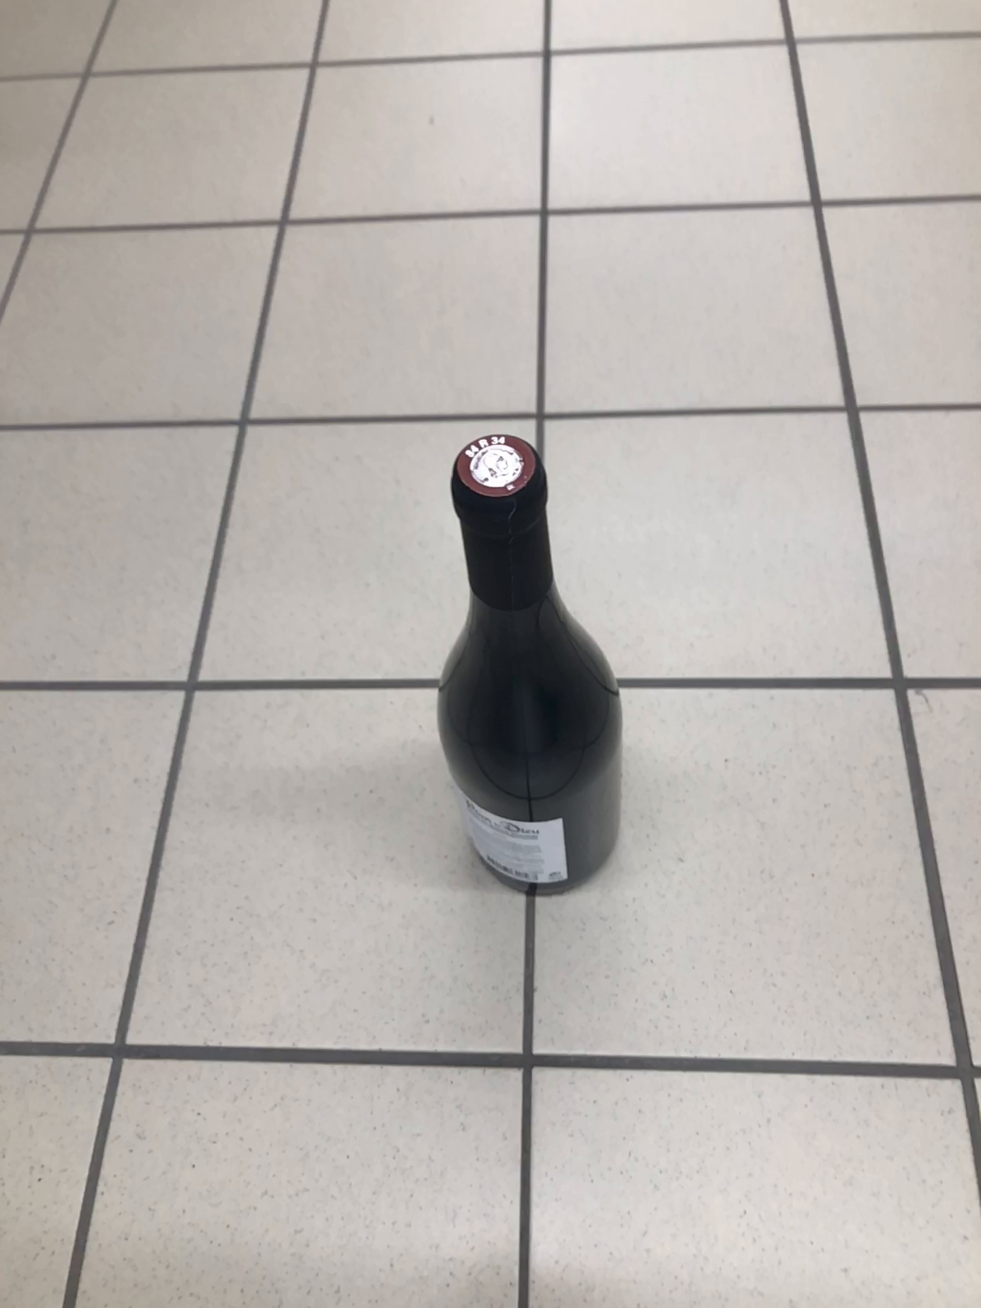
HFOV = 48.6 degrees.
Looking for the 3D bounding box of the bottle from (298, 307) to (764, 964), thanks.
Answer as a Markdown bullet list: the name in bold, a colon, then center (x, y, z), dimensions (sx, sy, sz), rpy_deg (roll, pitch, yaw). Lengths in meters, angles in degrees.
- **bottle**: center (0.024, 0.019, 0.441), dimensions (0.100, 0.289, 0.100), rpy_deg (-2, 59, 4)
